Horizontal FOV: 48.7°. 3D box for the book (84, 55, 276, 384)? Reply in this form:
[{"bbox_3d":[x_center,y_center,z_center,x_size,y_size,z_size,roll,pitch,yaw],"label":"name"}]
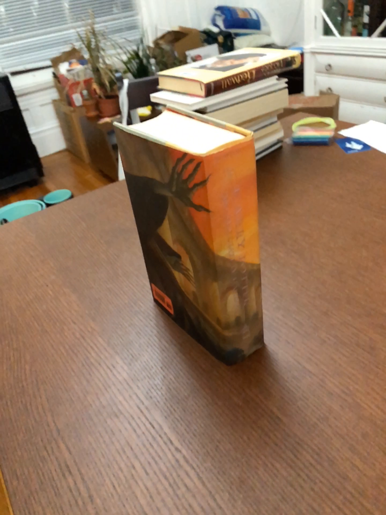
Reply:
[{"bbox_3d":[-0.011,-0.047,0.466,0.070,0.298,0.211,-24,36,-22],"label":"book"}]
